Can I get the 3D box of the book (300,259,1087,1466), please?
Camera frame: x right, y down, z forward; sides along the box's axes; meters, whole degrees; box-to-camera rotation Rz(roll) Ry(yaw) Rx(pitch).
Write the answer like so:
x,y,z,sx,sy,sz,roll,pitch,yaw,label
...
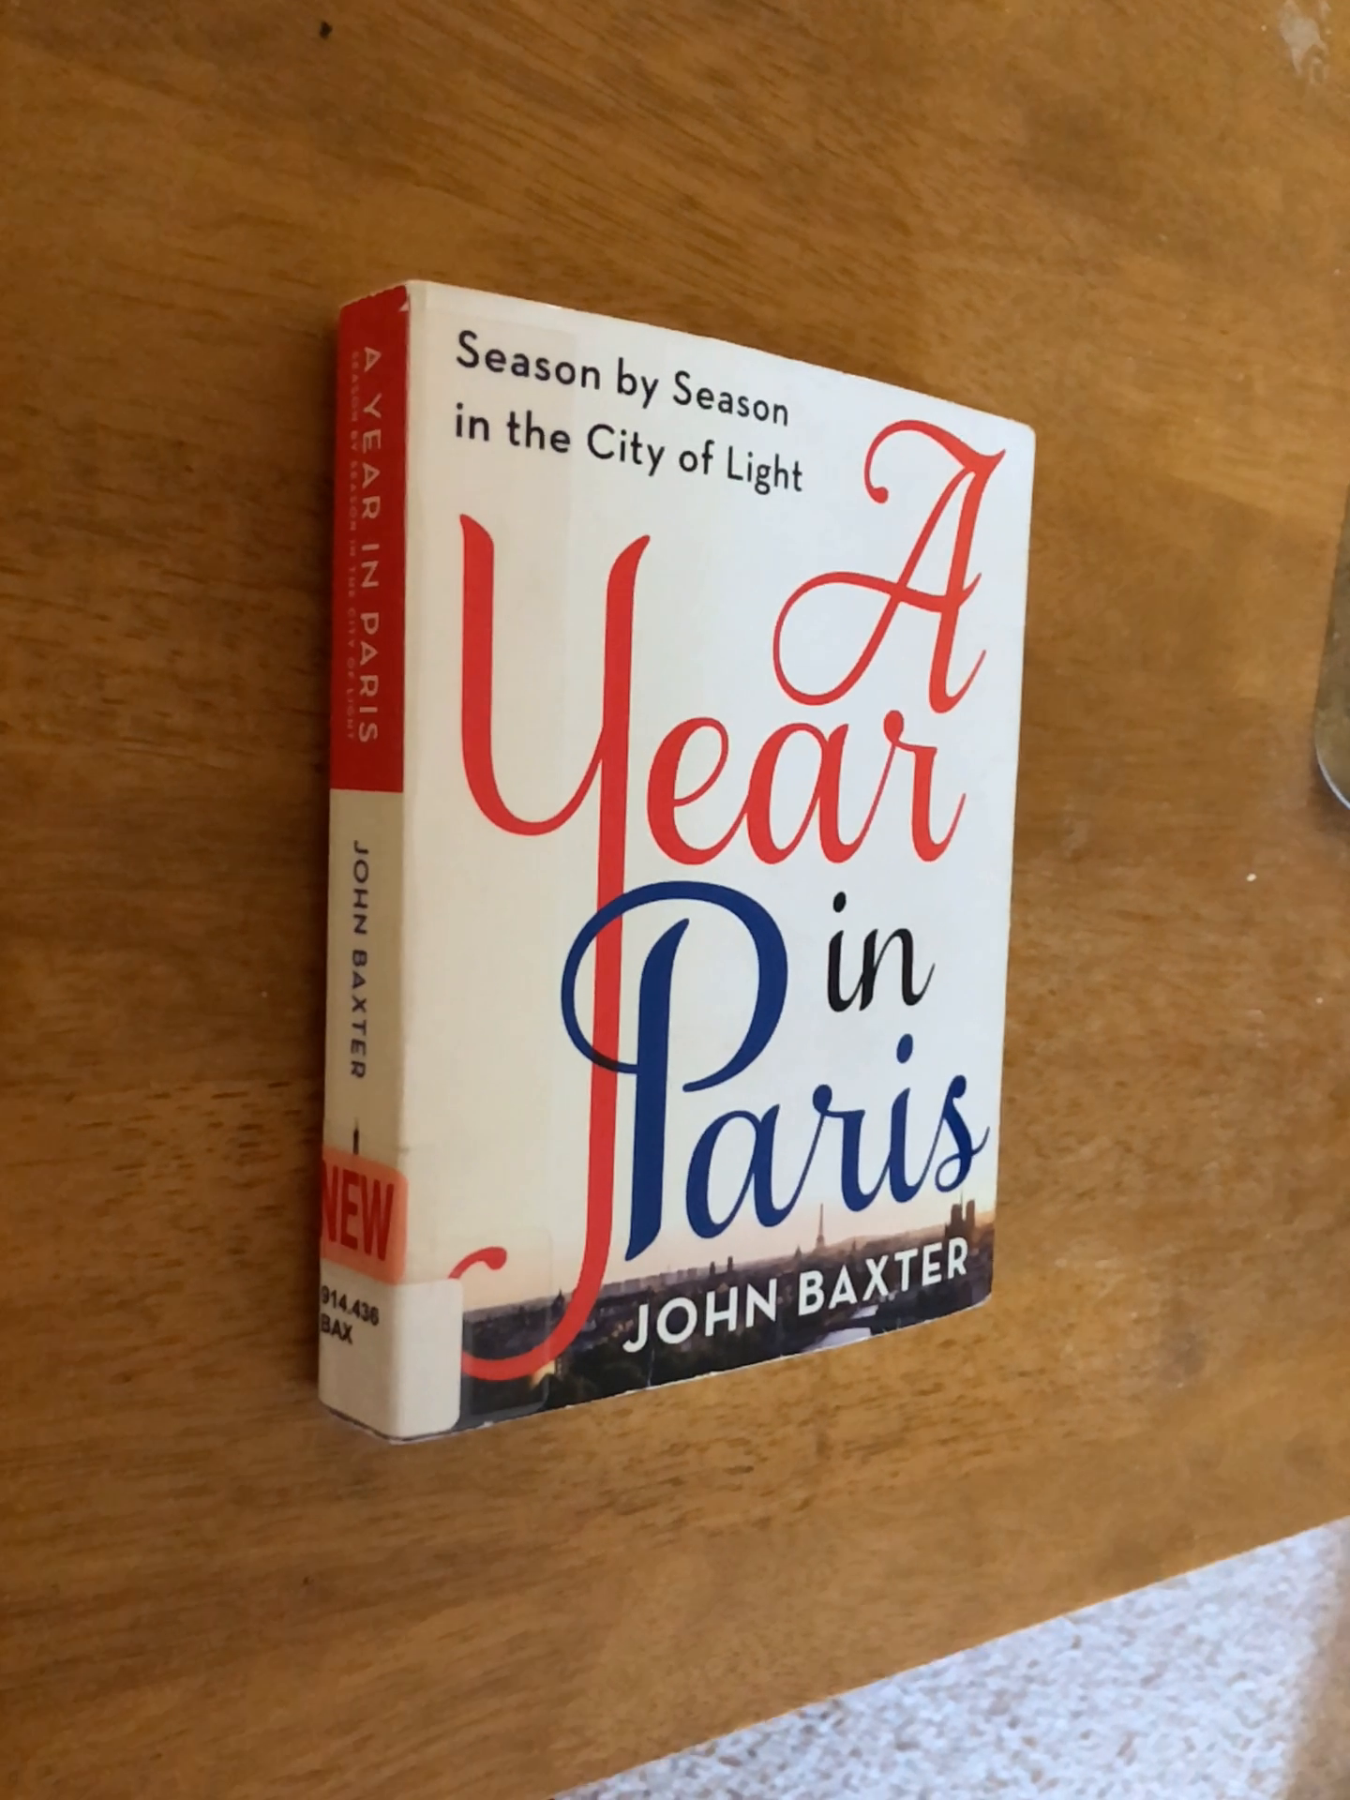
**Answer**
x,y,z,sx,sy,sz,roll,pitch,yaw,label
0.009,-0.006,0.286,0.151,0.040,0.182,-2,96,-37,book
